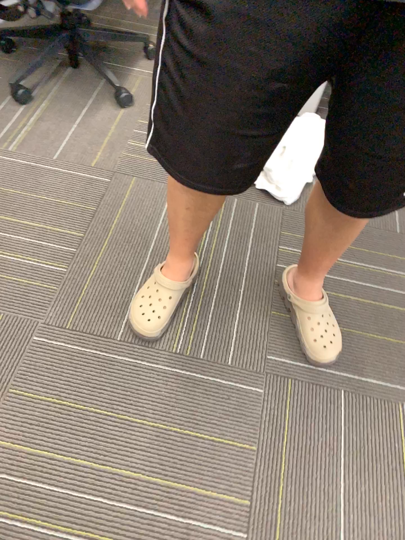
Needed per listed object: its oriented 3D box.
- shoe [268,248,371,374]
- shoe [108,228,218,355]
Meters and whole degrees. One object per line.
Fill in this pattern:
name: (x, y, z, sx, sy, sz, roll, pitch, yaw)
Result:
shoe: (0.313, 0.105, 1.151, 0.140, 0.090, 0.331, -8, 56, -12)
shoe: (-0.100, 0.049, 1.145, 0.150, 0.090, 0.331, 25, 56, 11)
